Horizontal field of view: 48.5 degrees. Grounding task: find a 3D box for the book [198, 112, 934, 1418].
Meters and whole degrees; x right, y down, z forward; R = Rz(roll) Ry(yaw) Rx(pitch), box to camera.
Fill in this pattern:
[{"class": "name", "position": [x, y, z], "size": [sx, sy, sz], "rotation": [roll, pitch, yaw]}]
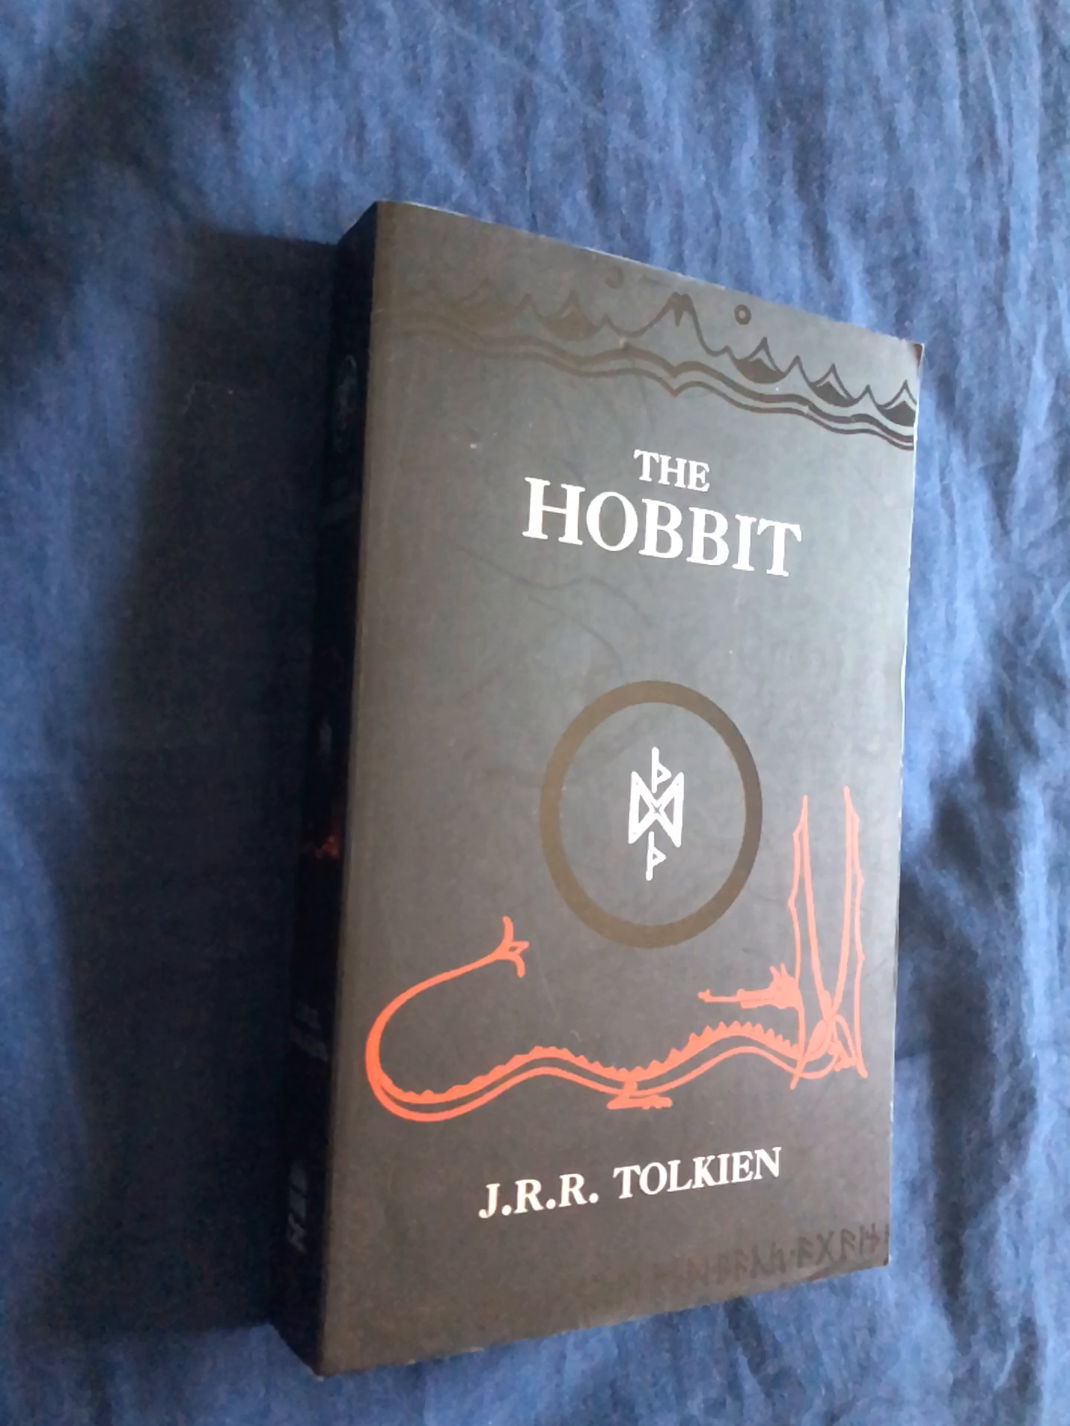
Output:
[{"class": "book", "position": [0.011, 0.008, 0.210], "size": [0.120, 0.040, 0.180], "rotation": [4, 86, -29]}]
